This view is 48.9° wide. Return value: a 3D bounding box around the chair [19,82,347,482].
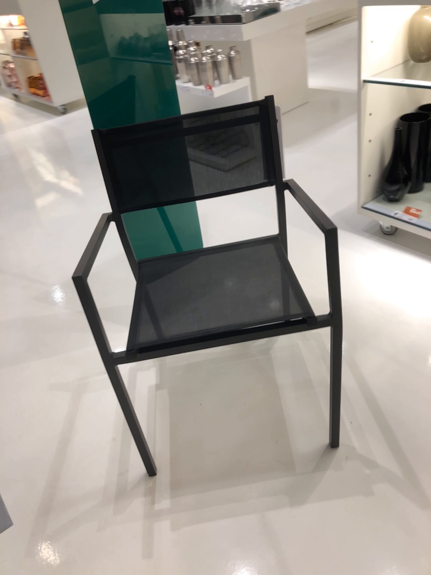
[{"bbox_3d":[-0.019,-0.019,1.287,0.570,0.794,0.605,-10,35,2],"label":"chair"}]
